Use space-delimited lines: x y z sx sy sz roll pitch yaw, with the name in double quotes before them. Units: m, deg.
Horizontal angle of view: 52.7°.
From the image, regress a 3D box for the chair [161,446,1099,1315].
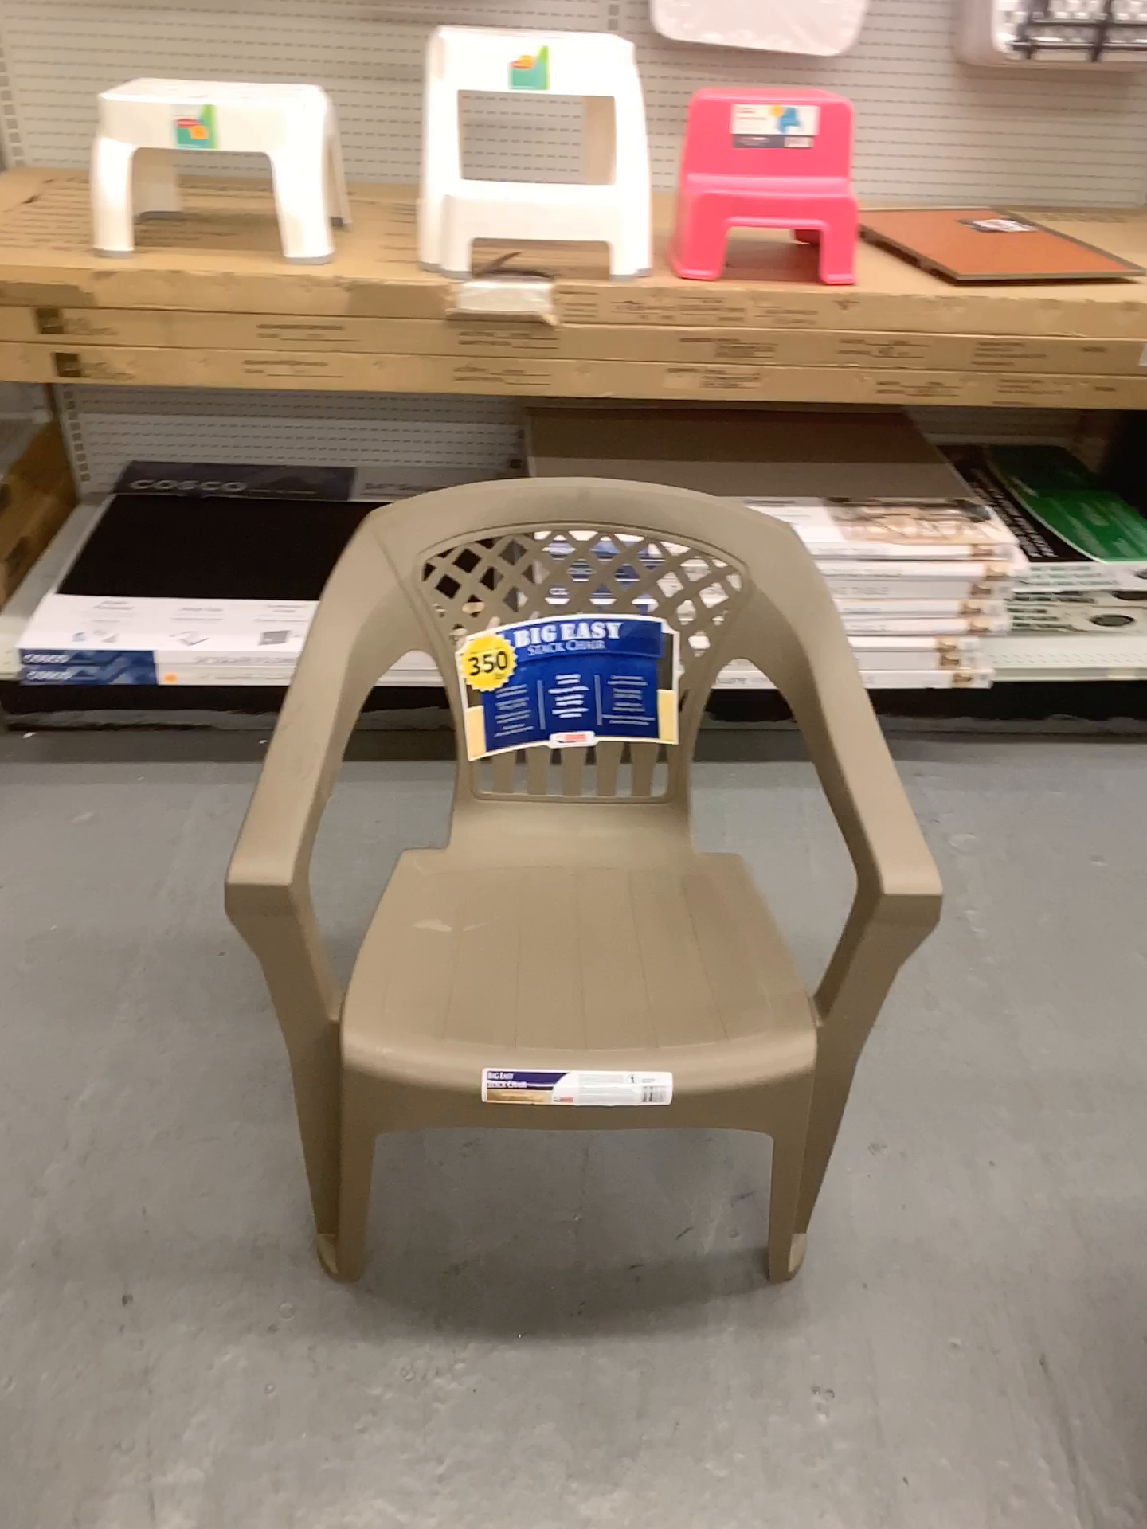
"chair" 0.029 0.153 1.435 0.766 0.878 0.591 2 35 -2
